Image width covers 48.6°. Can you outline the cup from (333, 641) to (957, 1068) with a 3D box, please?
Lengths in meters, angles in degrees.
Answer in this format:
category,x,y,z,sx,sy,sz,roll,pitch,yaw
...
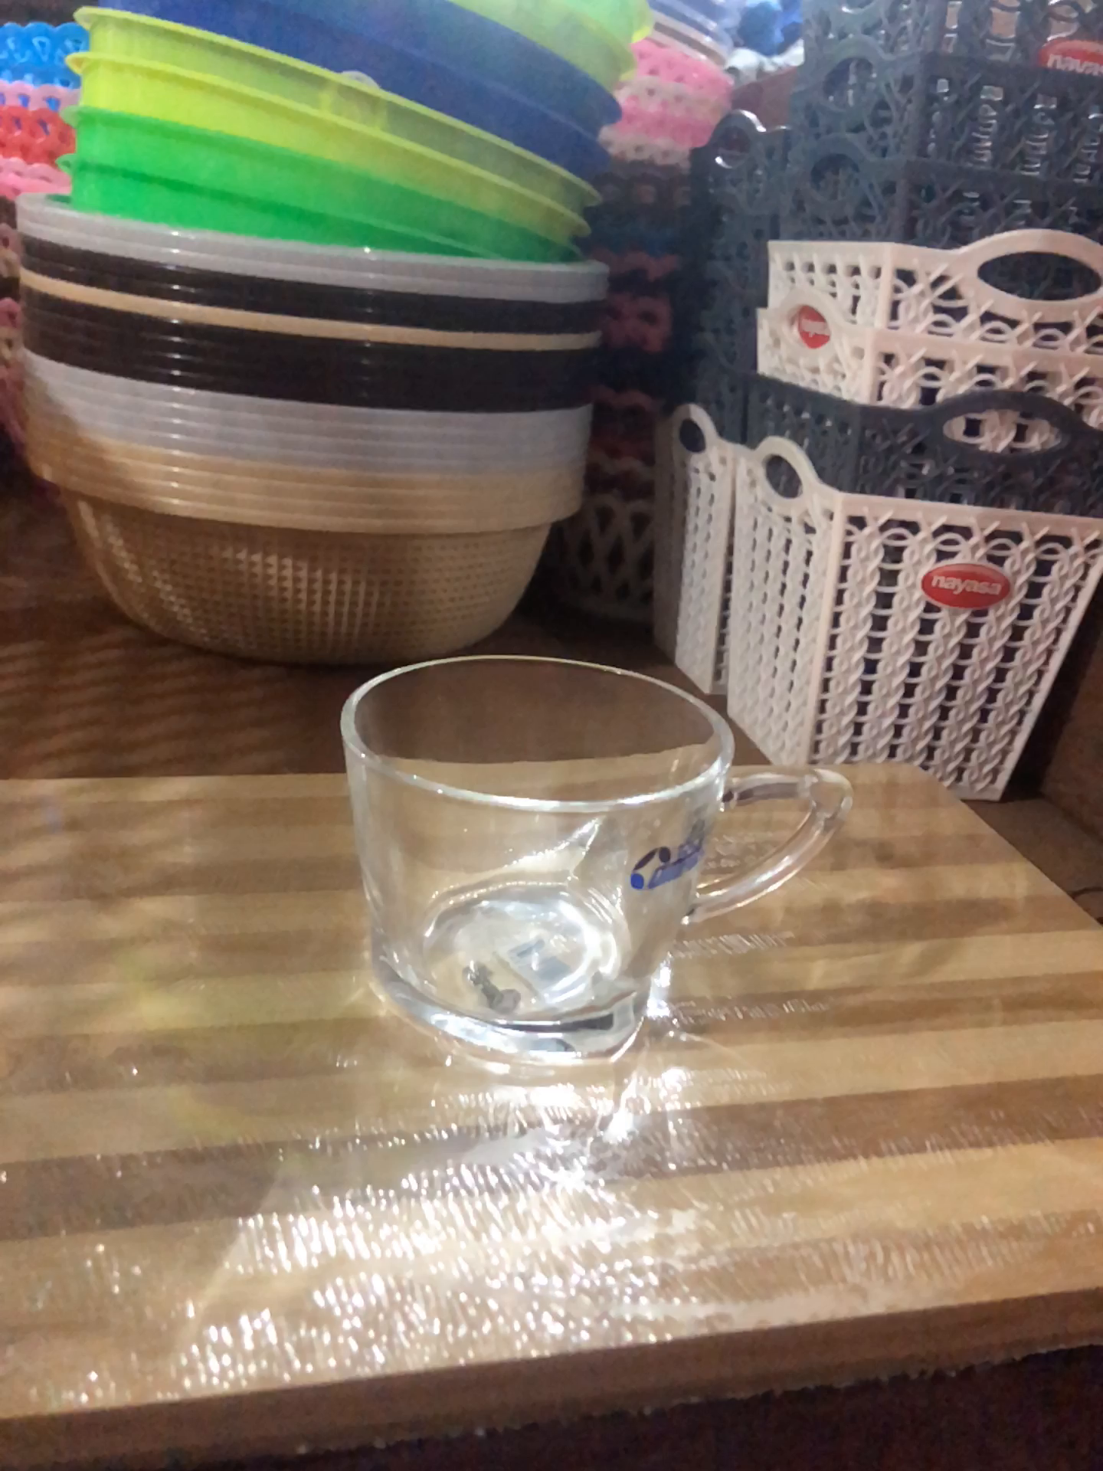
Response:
category,x,y,z,sx,sy,sz,roll,pitch,yaw
cup,0.012,0.022,0.255,0.110,0.060,0.070,1,22,-8
